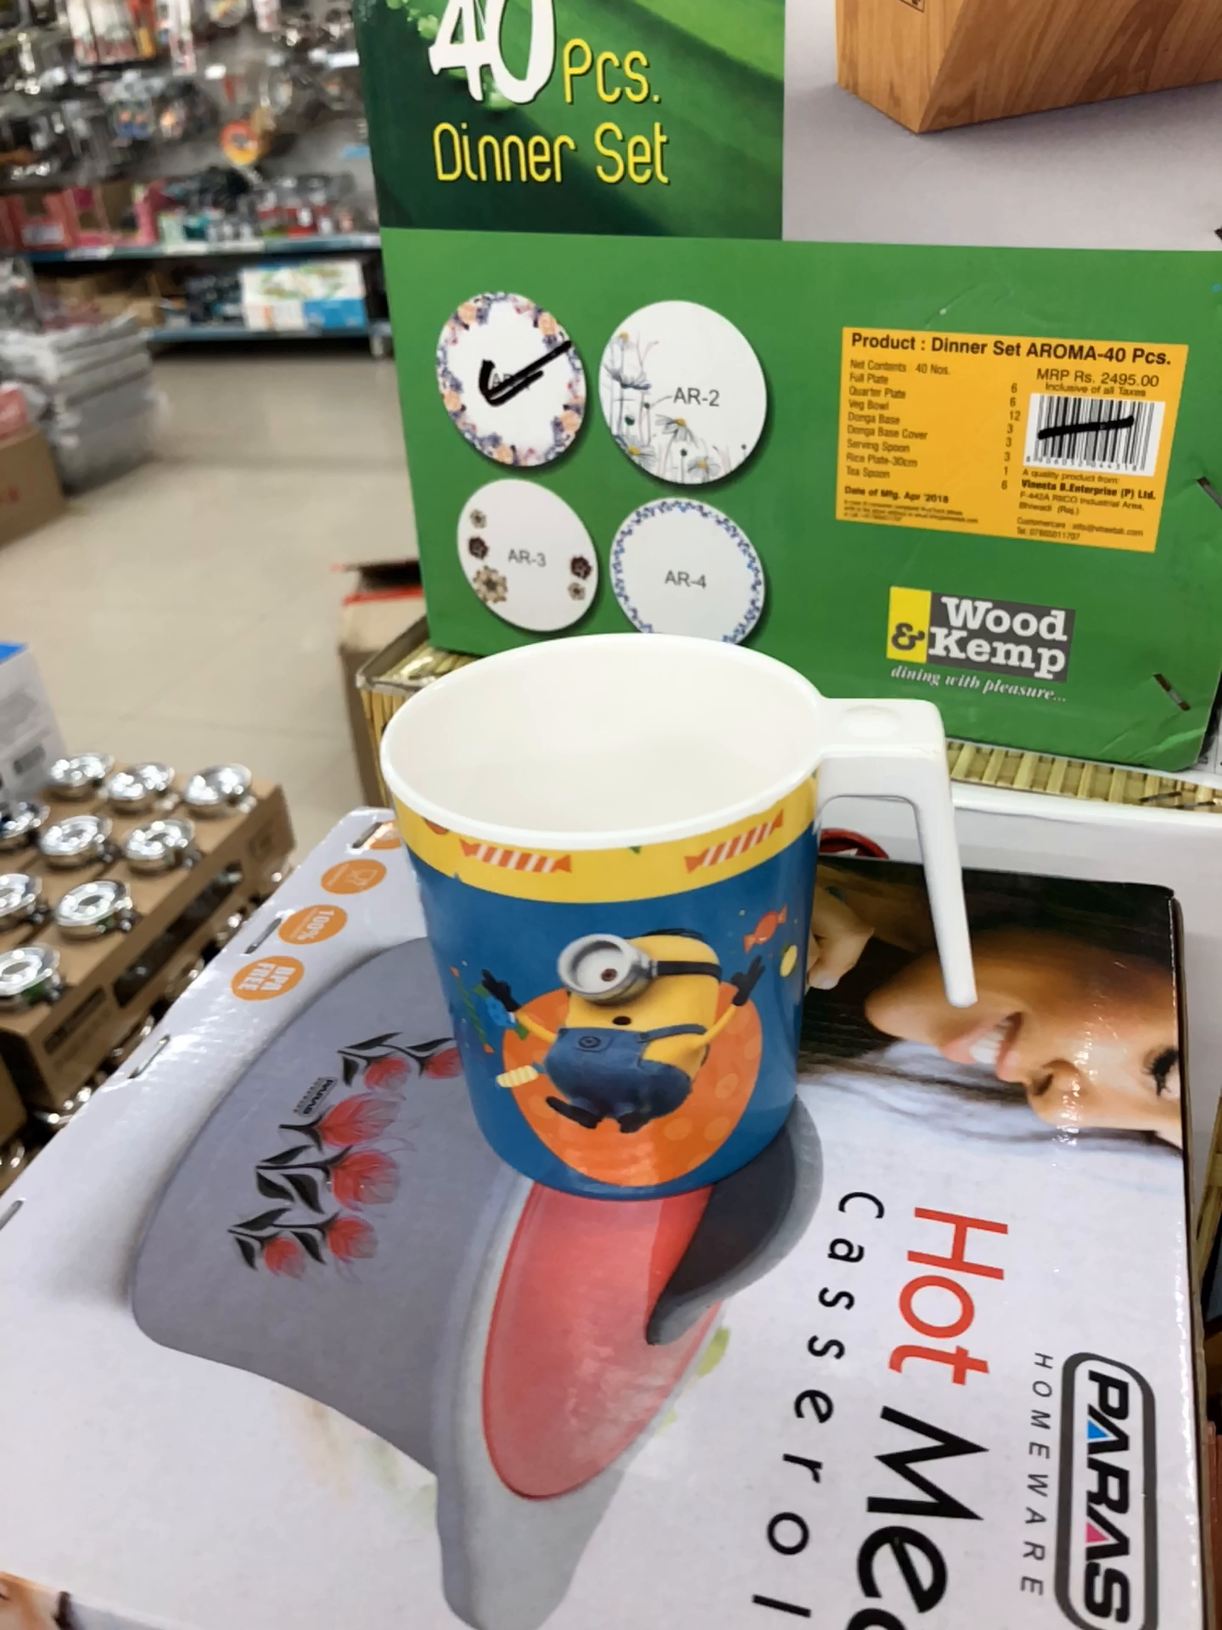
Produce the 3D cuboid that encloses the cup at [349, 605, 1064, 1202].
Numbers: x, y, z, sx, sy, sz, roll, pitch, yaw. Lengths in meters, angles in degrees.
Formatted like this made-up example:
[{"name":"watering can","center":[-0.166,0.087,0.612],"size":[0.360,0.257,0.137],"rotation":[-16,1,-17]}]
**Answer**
[{"name":"cup","center":[0.019,0.015,0.264],"size":[0.110,0.079,0.081],"rotation":[-3,31,5]}]
